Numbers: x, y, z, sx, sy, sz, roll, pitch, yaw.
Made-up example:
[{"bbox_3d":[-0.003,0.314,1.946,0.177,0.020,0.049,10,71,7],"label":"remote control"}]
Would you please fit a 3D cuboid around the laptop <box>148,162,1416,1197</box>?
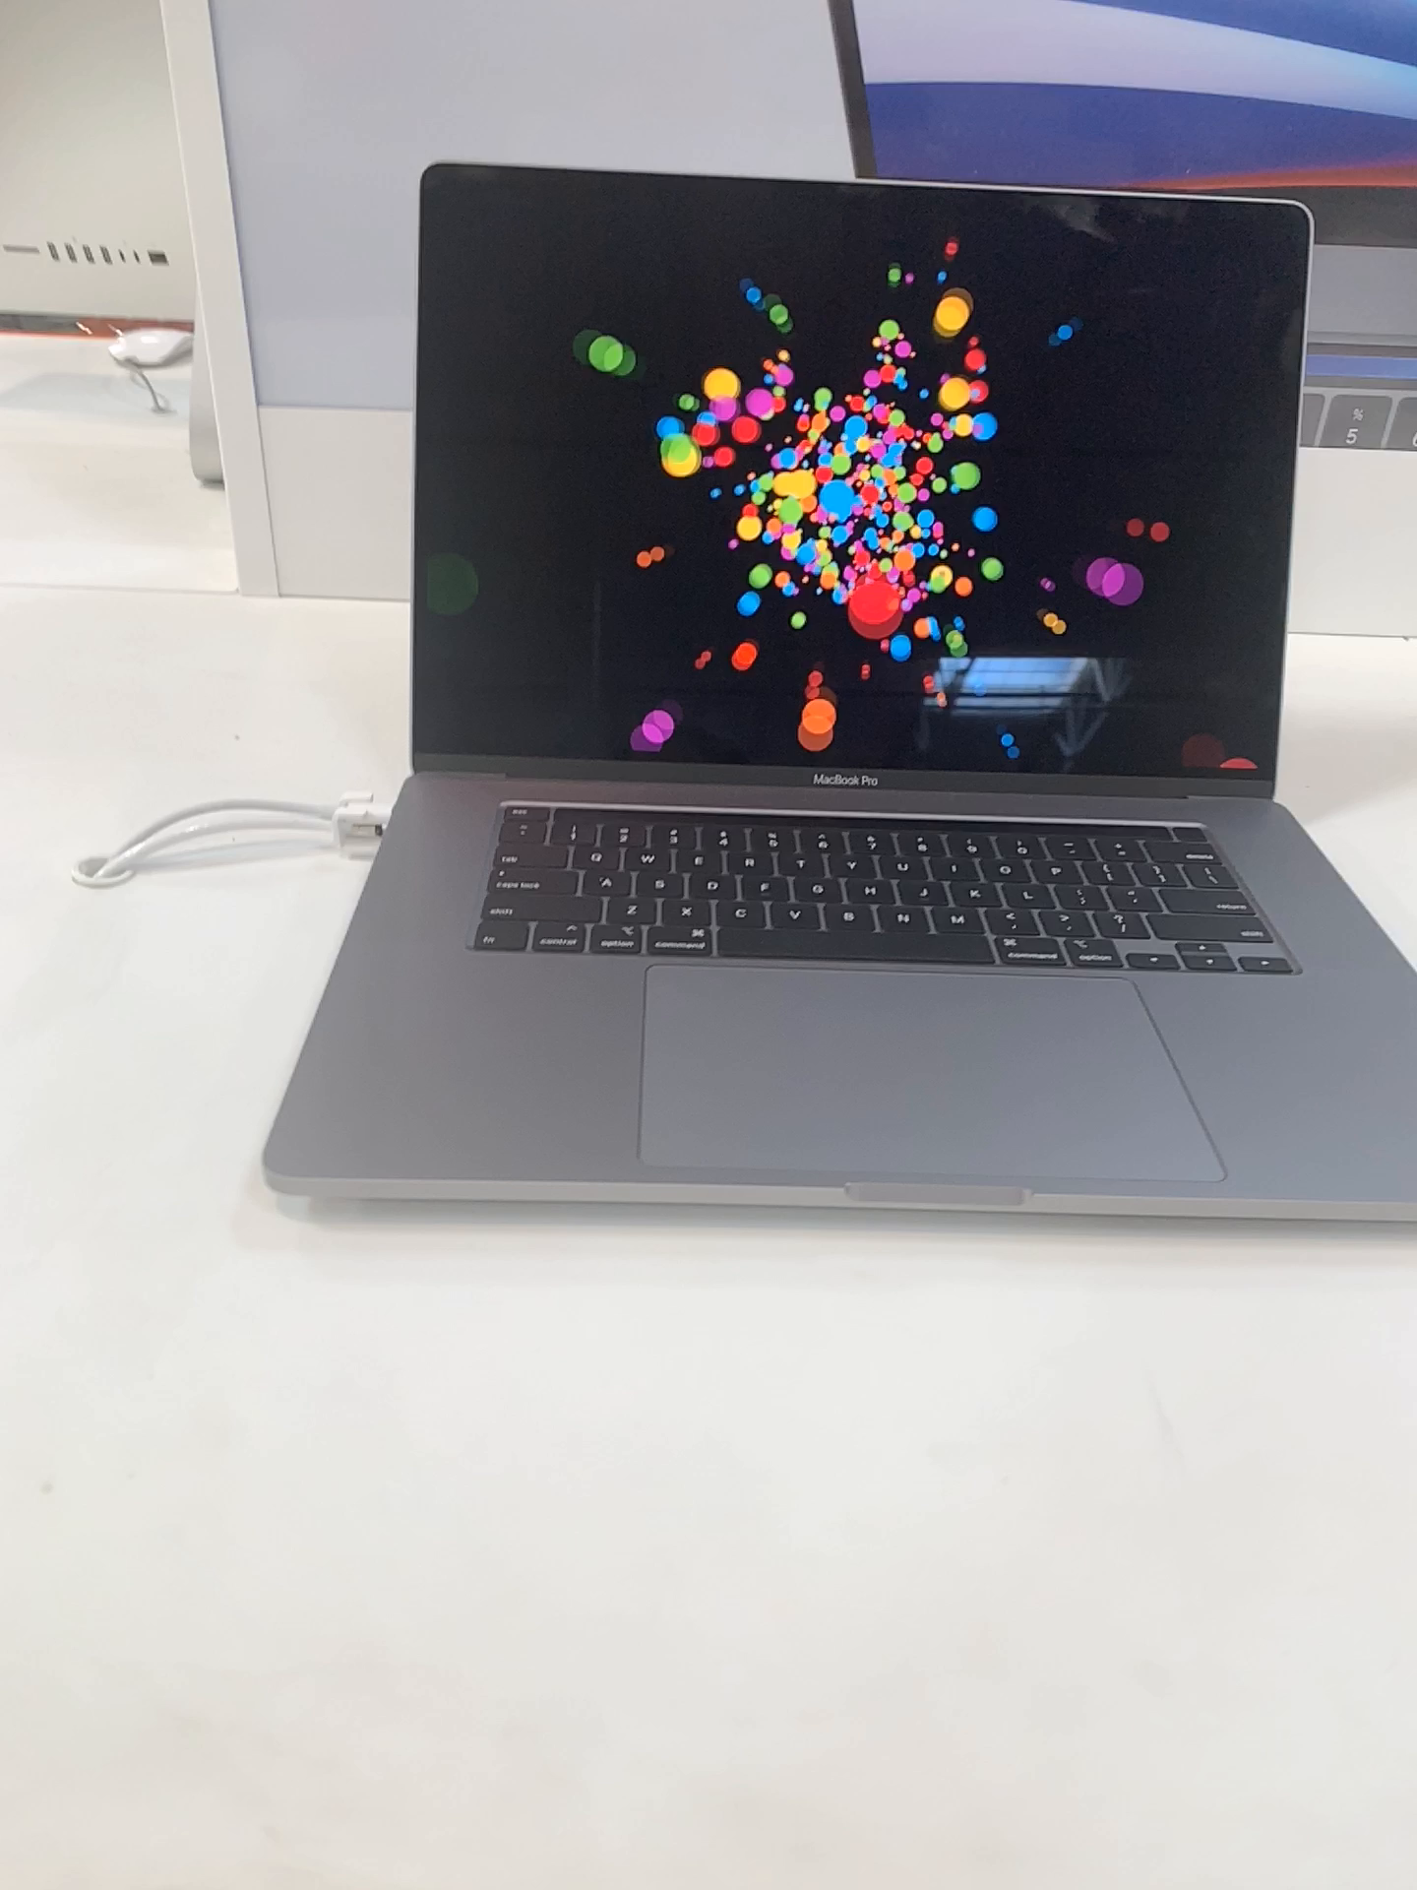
[{"bbox_3d":[0.065,-0.116,0.464,0.341,0.203,0.347,1,32,-2],"label":"laptop"}]
